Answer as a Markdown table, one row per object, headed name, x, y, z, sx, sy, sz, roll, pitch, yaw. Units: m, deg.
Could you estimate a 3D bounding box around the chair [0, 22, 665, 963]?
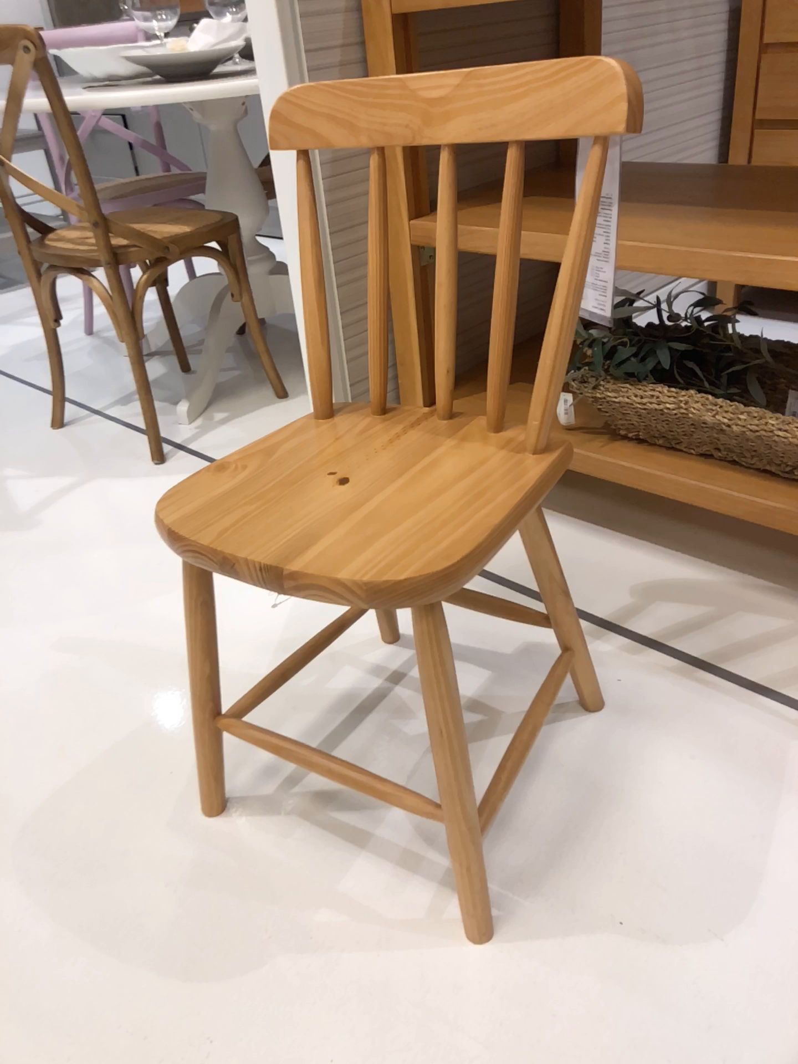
| name | x | y | z | sx | sy | sz | roll | pitch | yaw |
| --- | --- | --- | --- | --- | --- | --- | --- | --- | --- |
| chair | -0.021 | -0.062 | 0.912 | 0.421 | 0.754 | 0.453 | 13 | 35 | 30 |
